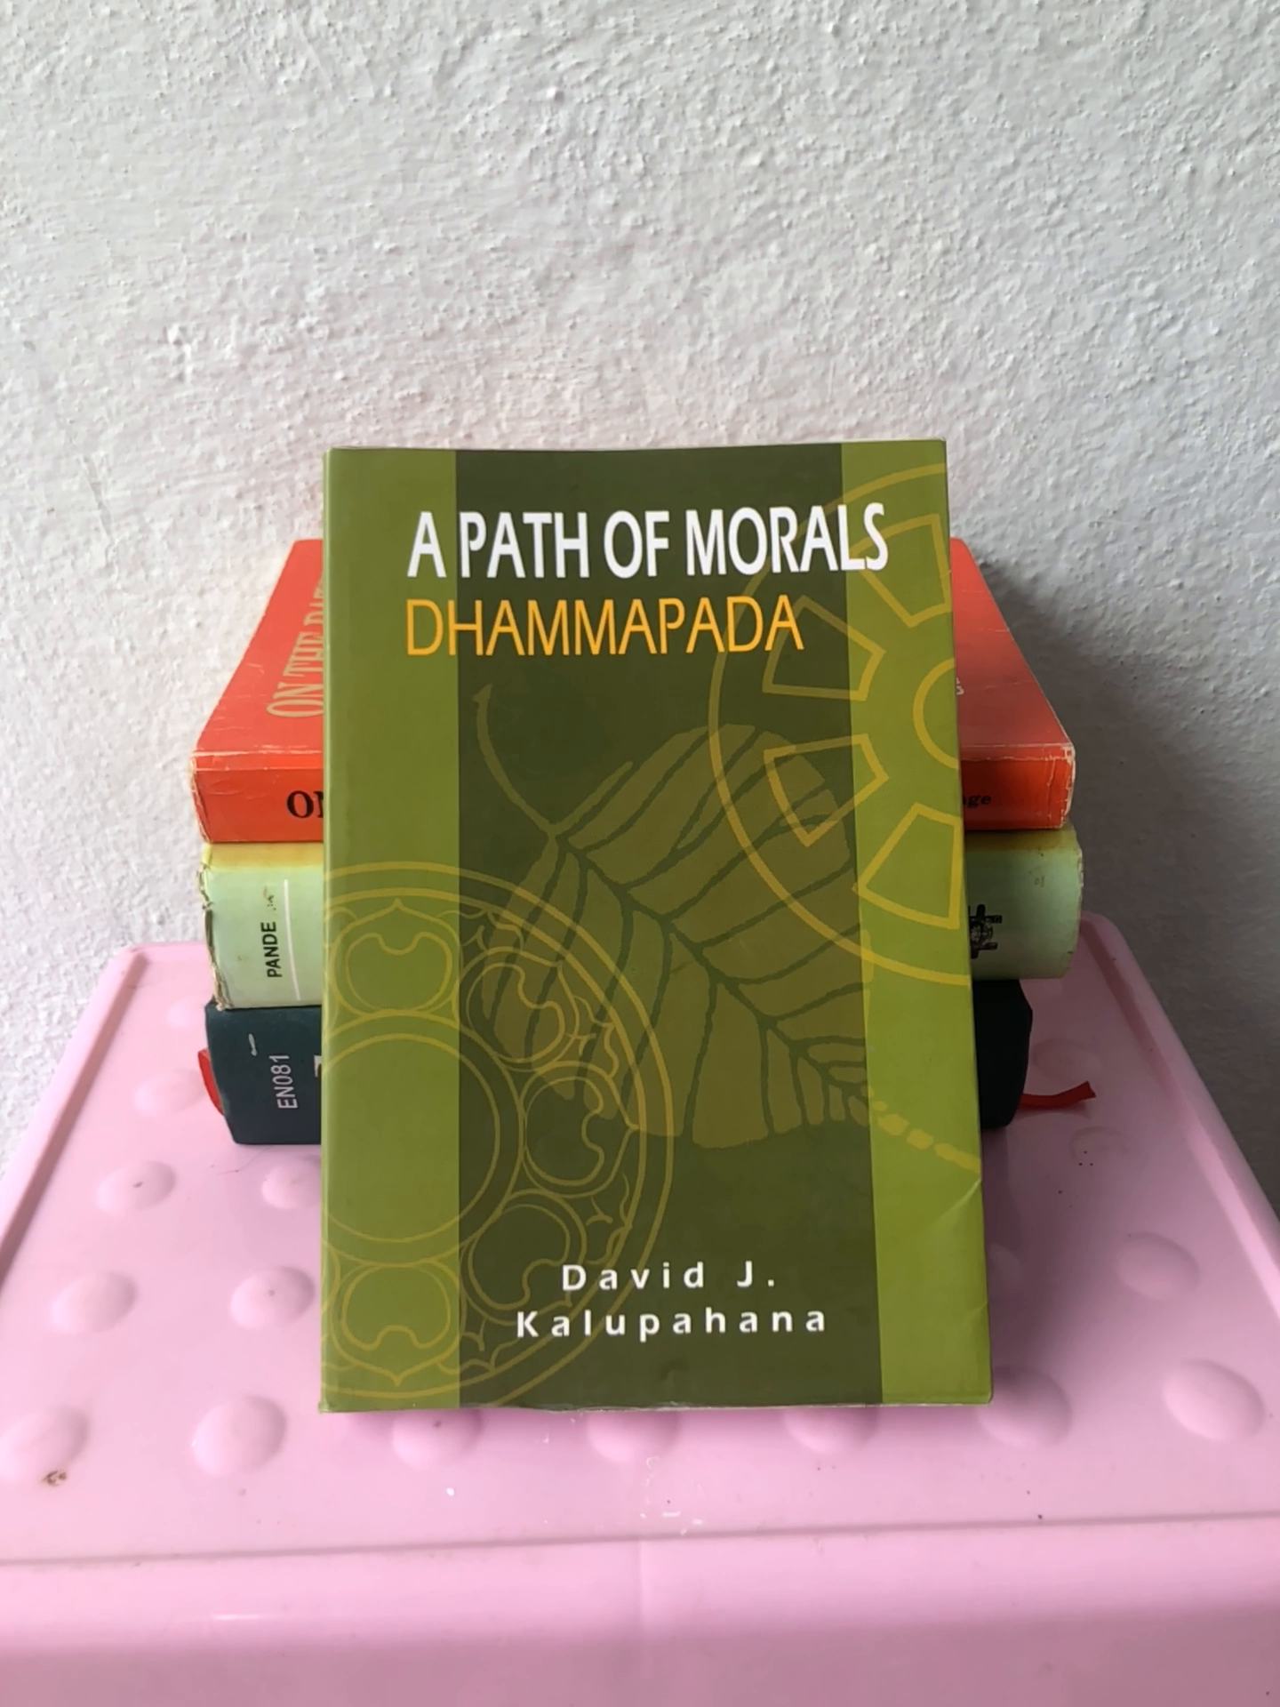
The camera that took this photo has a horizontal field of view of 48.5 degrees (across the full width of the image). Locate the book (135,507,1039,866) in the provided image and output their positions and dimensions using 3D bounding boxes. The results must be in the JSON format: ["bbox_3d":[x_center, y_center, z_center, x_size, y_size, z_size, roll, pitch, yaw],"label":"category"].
[{"bbox_3d":[-0.013,-0.055,0.406,0.210,0.030,0.161,-2,31,0],"label":"book"}]

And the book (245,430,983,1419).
[{"bbox_3d":[-0.006,0.012,0.323,0.150,0.210,0.040,0,-8,-1],"label":"book"}]

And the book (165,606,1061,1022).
[{"bbox_3d":[-0.007,-0.020,0.411,0.210,0.040,0.161,-2,31,0],"label":"book"}]

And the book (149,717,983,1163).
[{"bbox_3d":[-0.017,0.018,0.438,0.210,0.050,0.161,-2,31,2],"label":"book"}]
